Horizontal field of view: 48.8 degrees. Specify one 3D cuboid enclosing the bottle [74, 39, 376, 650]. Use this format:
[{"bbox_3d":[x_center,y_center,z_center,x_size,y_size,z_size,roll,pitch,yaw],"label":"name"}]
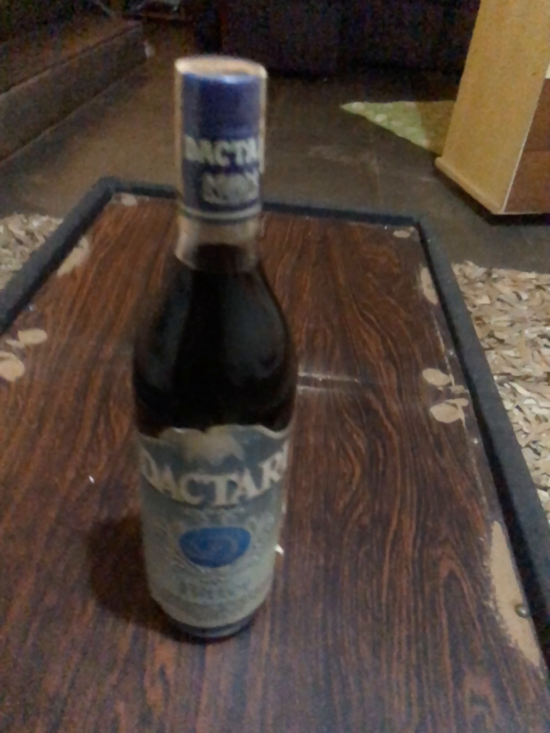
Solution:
[{"bbox_3d":[-0.029,0.019,0.302,0.090,0.308,0.081,2,35,-5],"label":"bottle"}]
